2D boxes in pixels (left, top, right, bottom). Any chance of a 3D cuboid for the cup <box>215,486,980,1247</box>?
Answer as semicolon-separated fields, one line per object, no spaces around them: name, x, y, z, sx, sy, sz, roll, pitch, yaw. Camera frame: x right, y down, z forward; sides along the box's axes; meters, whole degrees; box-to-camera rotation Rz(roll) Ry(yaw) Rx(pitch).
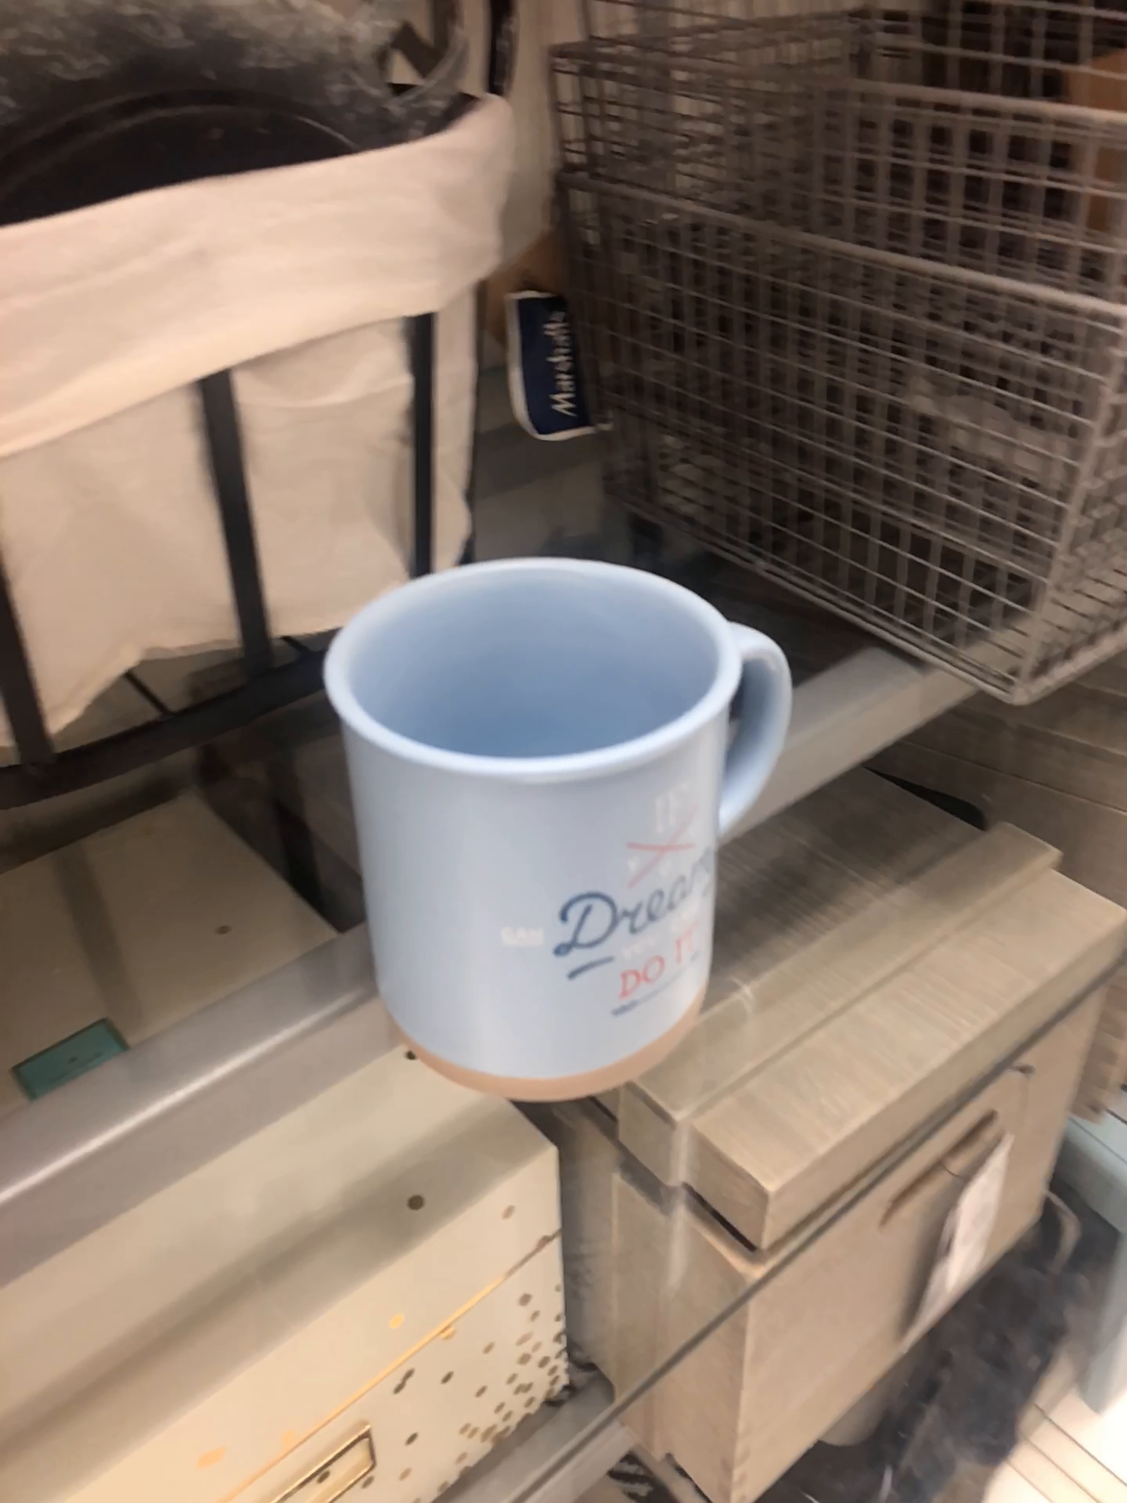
cup;0.010;0.016;0.303;0.139;0.100;0.100;-27;42;-32
